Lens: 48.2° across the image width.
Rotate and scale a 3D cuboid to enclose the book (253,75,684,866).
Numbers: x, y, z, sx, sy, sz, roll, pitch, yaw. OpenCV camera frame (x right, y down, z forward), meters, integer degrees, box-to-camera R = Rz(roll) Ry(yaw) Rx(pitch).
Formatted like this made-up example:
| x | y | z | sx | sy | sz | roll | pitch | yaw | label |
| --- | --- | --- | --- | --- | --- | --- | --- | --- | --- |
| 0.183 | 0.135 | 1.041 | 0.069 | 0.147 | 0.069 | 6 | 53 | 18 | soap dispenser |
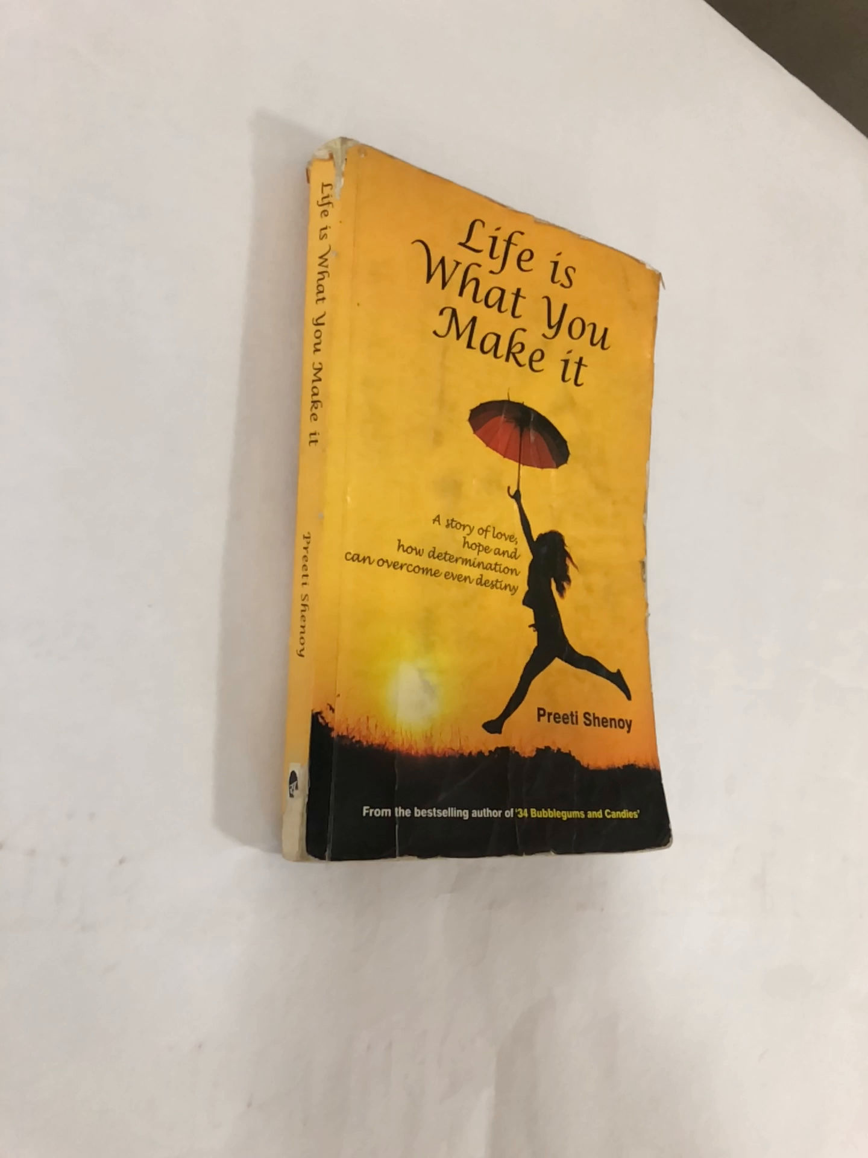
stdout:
| x | y | z | sx | sy | sz | roll | pitch | yaw | label |
| --- | --- | --- | --- | --- | --- | --- | --- | --- | --- |
| 0.019 | -0.025 | 0.295 | 0.141 | 0.020 | 0.210 | 10 | 75 | -36 | book |
